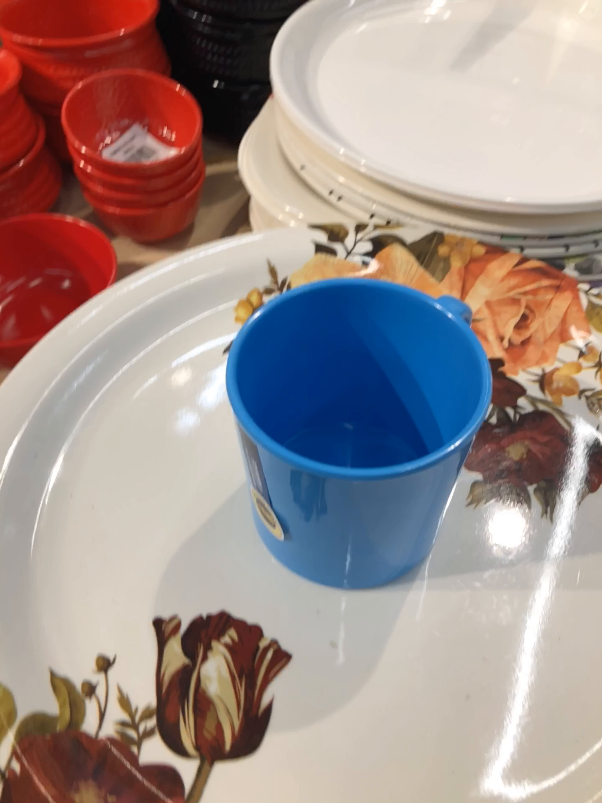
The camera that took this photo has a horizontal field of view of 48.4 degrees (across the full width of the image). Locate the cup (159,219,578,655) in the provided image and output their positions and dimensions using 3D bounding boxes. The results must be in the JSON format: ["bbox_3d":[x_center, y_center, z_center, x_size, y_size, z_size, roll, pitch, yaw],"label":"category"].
[{"bbox_3d":[0.024,0.012,0.250,0.110,0.090,0.080,-39,62,-24],"label":"cup"}]
